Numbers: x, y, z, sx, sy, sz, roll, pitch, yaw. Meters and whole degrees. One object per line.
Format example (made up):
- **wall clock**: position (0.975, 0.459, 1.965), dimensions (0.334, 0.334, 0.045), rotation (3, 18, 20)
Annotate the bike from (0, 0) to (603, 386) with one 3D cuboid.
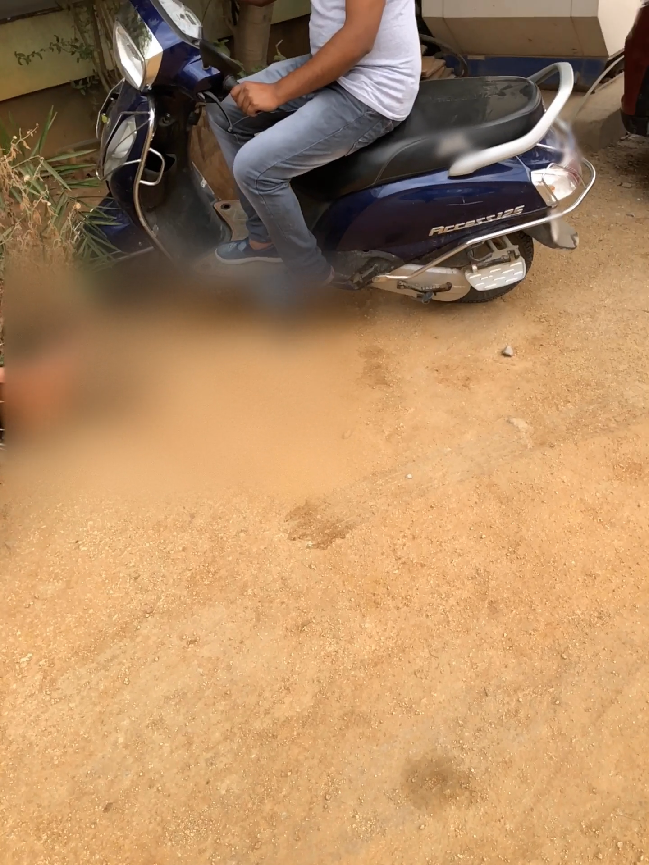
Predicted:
- **bike**: position (-0.122, -0.833, 2.277), dimensions (1.620, 1.222, 0.591), rotation (-2, 37, 6)
